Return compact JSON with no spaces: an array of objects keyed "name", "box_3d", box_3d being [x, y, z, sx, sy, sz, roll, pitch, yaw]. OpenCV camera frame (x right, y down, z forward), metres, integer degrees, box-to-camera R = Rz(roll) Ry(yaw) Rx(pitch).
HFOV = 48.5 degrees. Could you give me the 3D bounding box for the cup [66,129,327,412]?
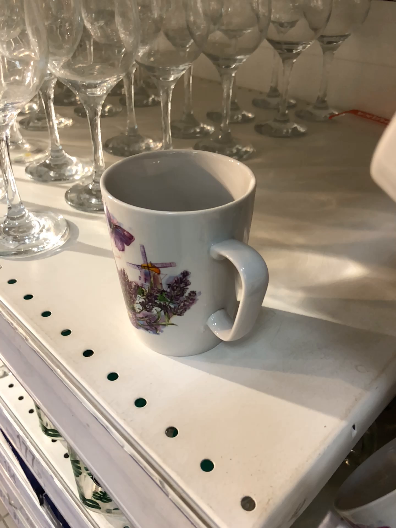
[{"name":"cup","box_3d":[-0.006,-0.006,0.253,0.082,0.094,0.120,-22,41,-26]}]
